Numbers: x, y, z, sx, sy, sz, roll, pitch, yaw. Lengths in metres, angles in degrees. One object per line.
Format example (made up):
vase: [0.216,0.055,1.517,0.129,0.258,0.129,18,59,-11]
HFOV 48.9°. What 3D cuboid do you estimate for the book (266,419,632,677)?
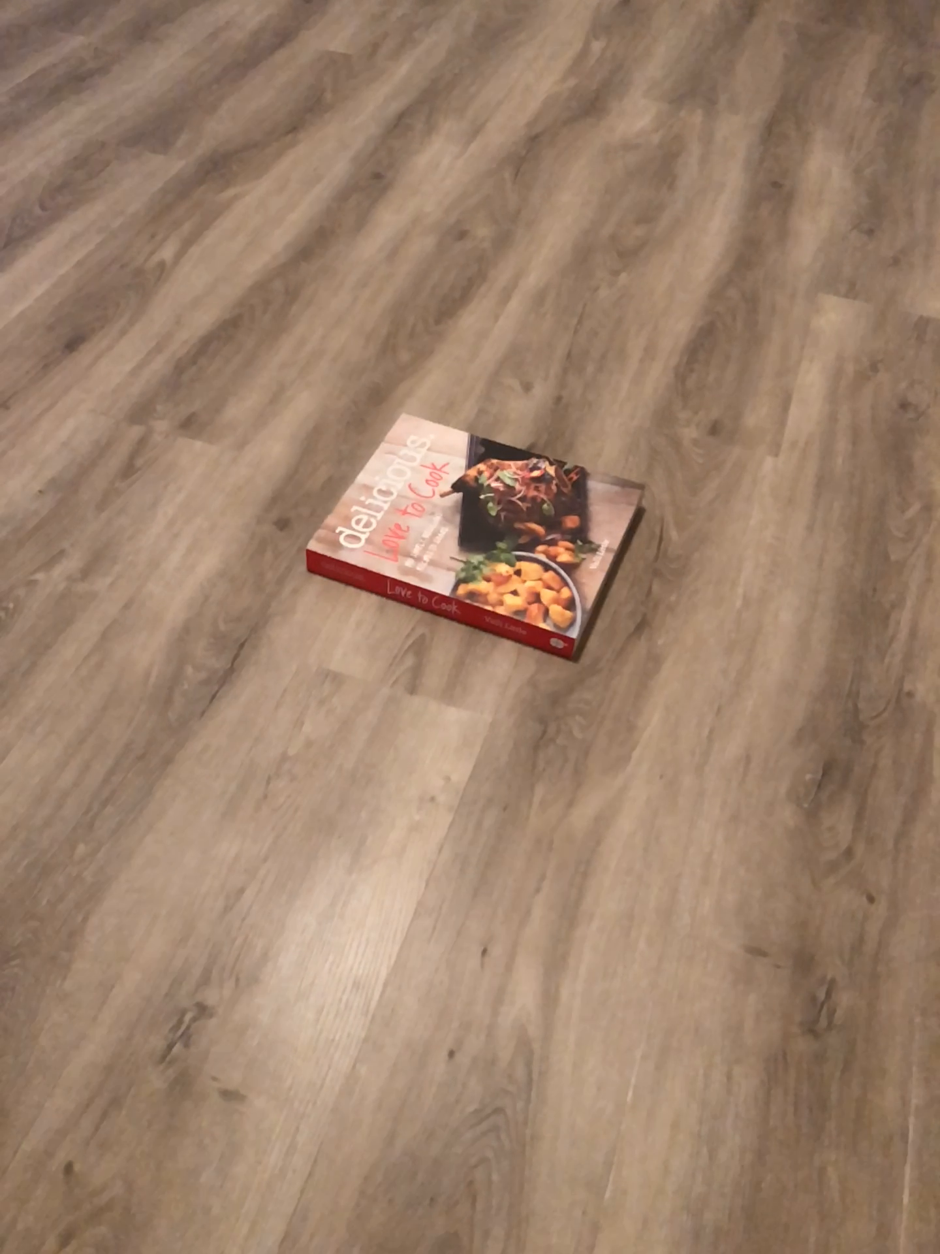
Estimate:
book: [-0.014,-0.088,1.010,0.290,0.030,0.222,19,52,13]
